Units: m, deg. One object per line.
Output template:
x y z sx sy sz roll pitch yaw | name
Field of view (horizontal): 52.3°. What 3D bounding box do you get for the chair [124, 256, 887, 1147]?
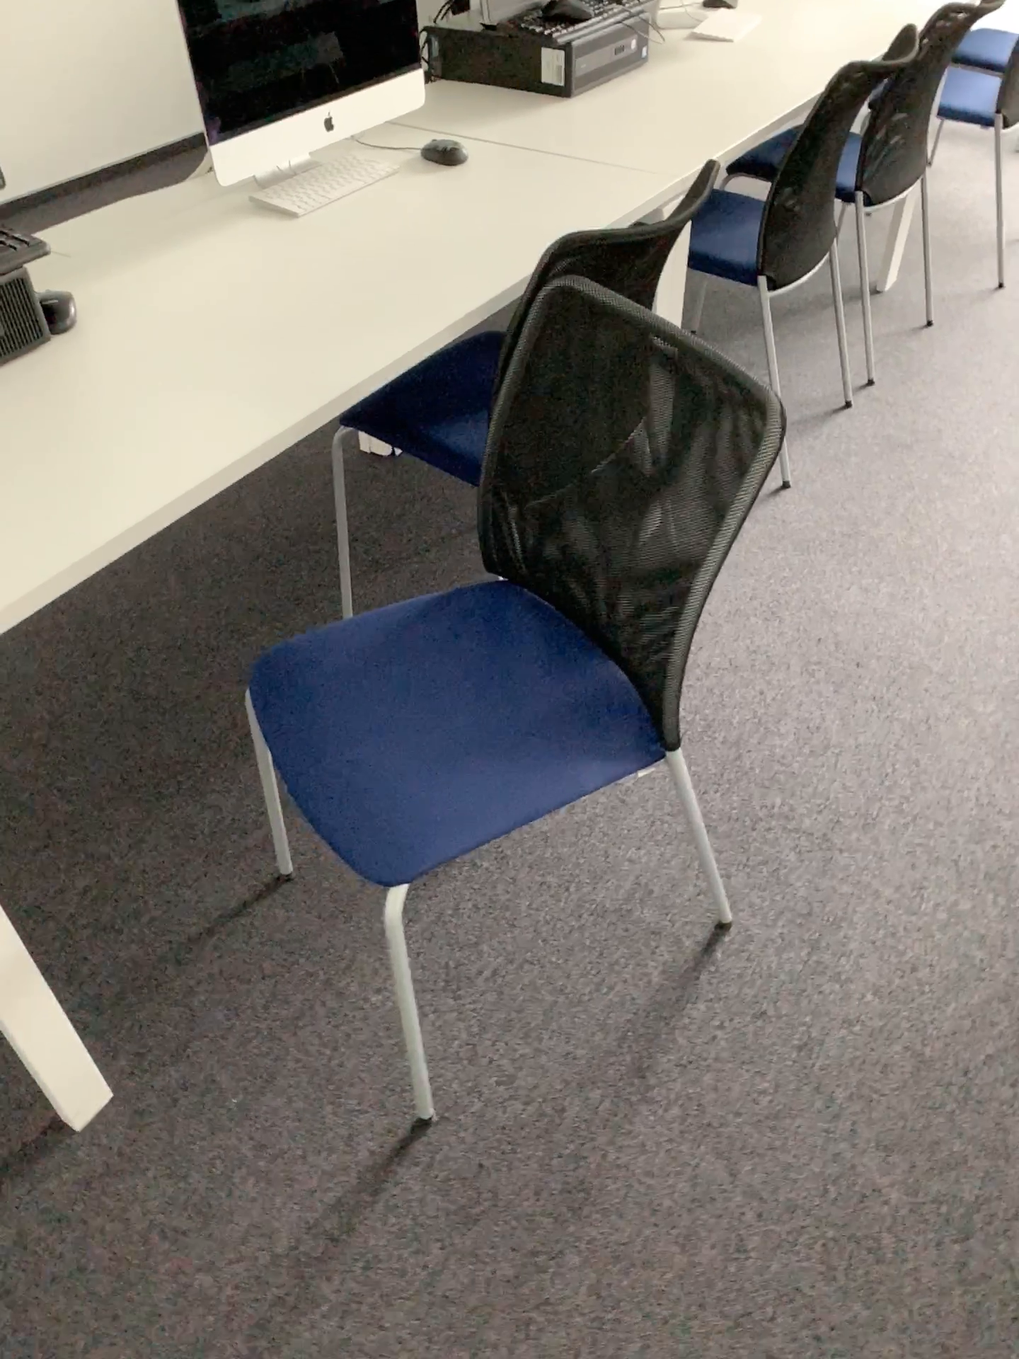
-0.018 0.037 1.386 0.601 0.895 0.542 -24 47 -23 | chair
